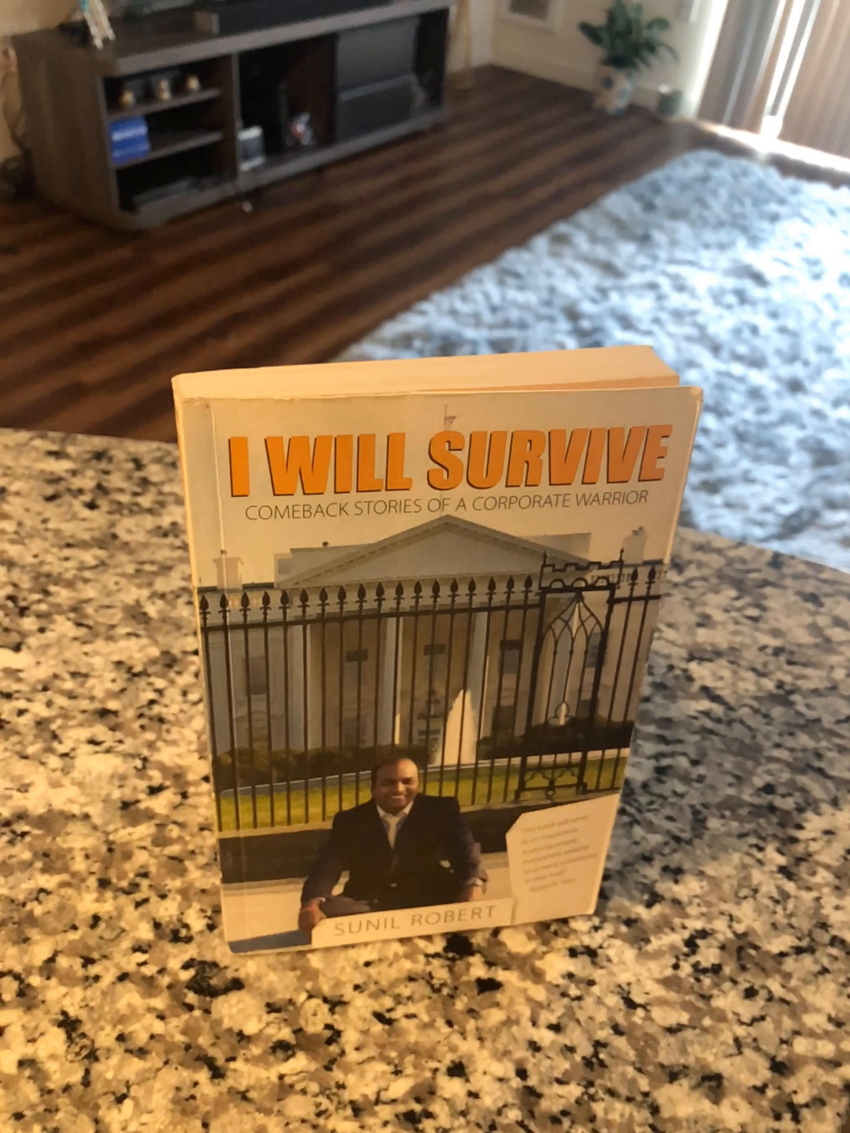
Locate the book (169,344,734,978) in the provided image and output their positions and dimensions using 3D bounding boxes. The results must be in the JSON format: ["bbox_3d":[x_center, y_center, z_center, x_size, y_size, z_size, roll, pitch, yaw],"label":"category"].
[{"bbox_3d":[0.002,0.034,0.280,0.134,0.191,0.032,-4,31,-13],"label":"book"}]
